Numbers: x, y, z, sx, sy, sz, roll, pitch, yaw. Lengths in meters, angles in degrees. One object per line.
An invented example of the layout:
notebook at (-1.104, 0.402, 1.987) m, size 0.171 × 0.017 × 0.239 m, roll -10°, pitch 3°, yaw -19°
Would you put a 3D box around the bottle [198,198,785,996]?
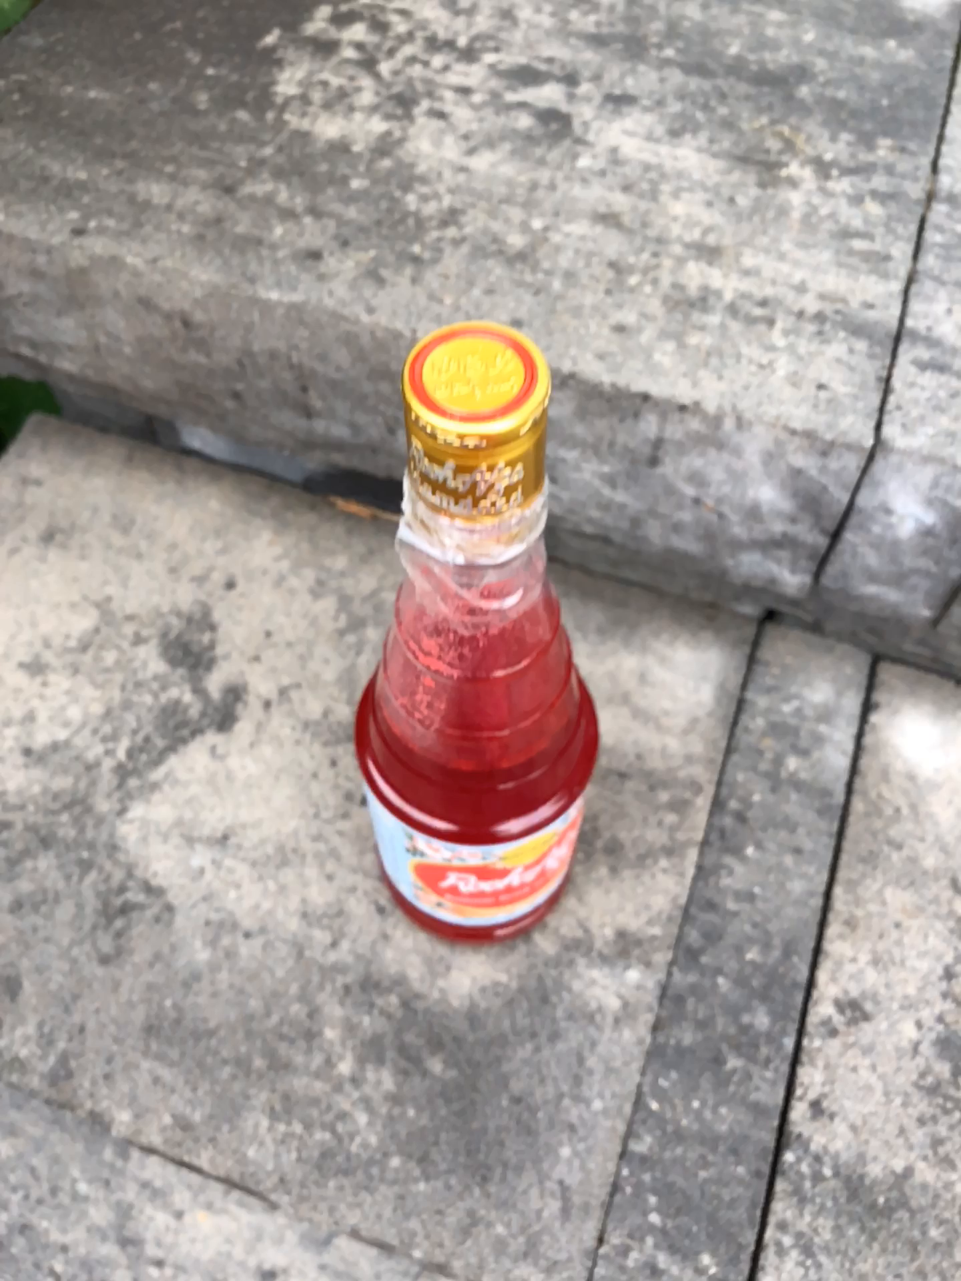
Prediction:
bottle at (-0.001, 0.021, 0.330) m, size 0.090 × 0.280 × 0.080 m, roll -19°, pitch 61°, yaw -11°
